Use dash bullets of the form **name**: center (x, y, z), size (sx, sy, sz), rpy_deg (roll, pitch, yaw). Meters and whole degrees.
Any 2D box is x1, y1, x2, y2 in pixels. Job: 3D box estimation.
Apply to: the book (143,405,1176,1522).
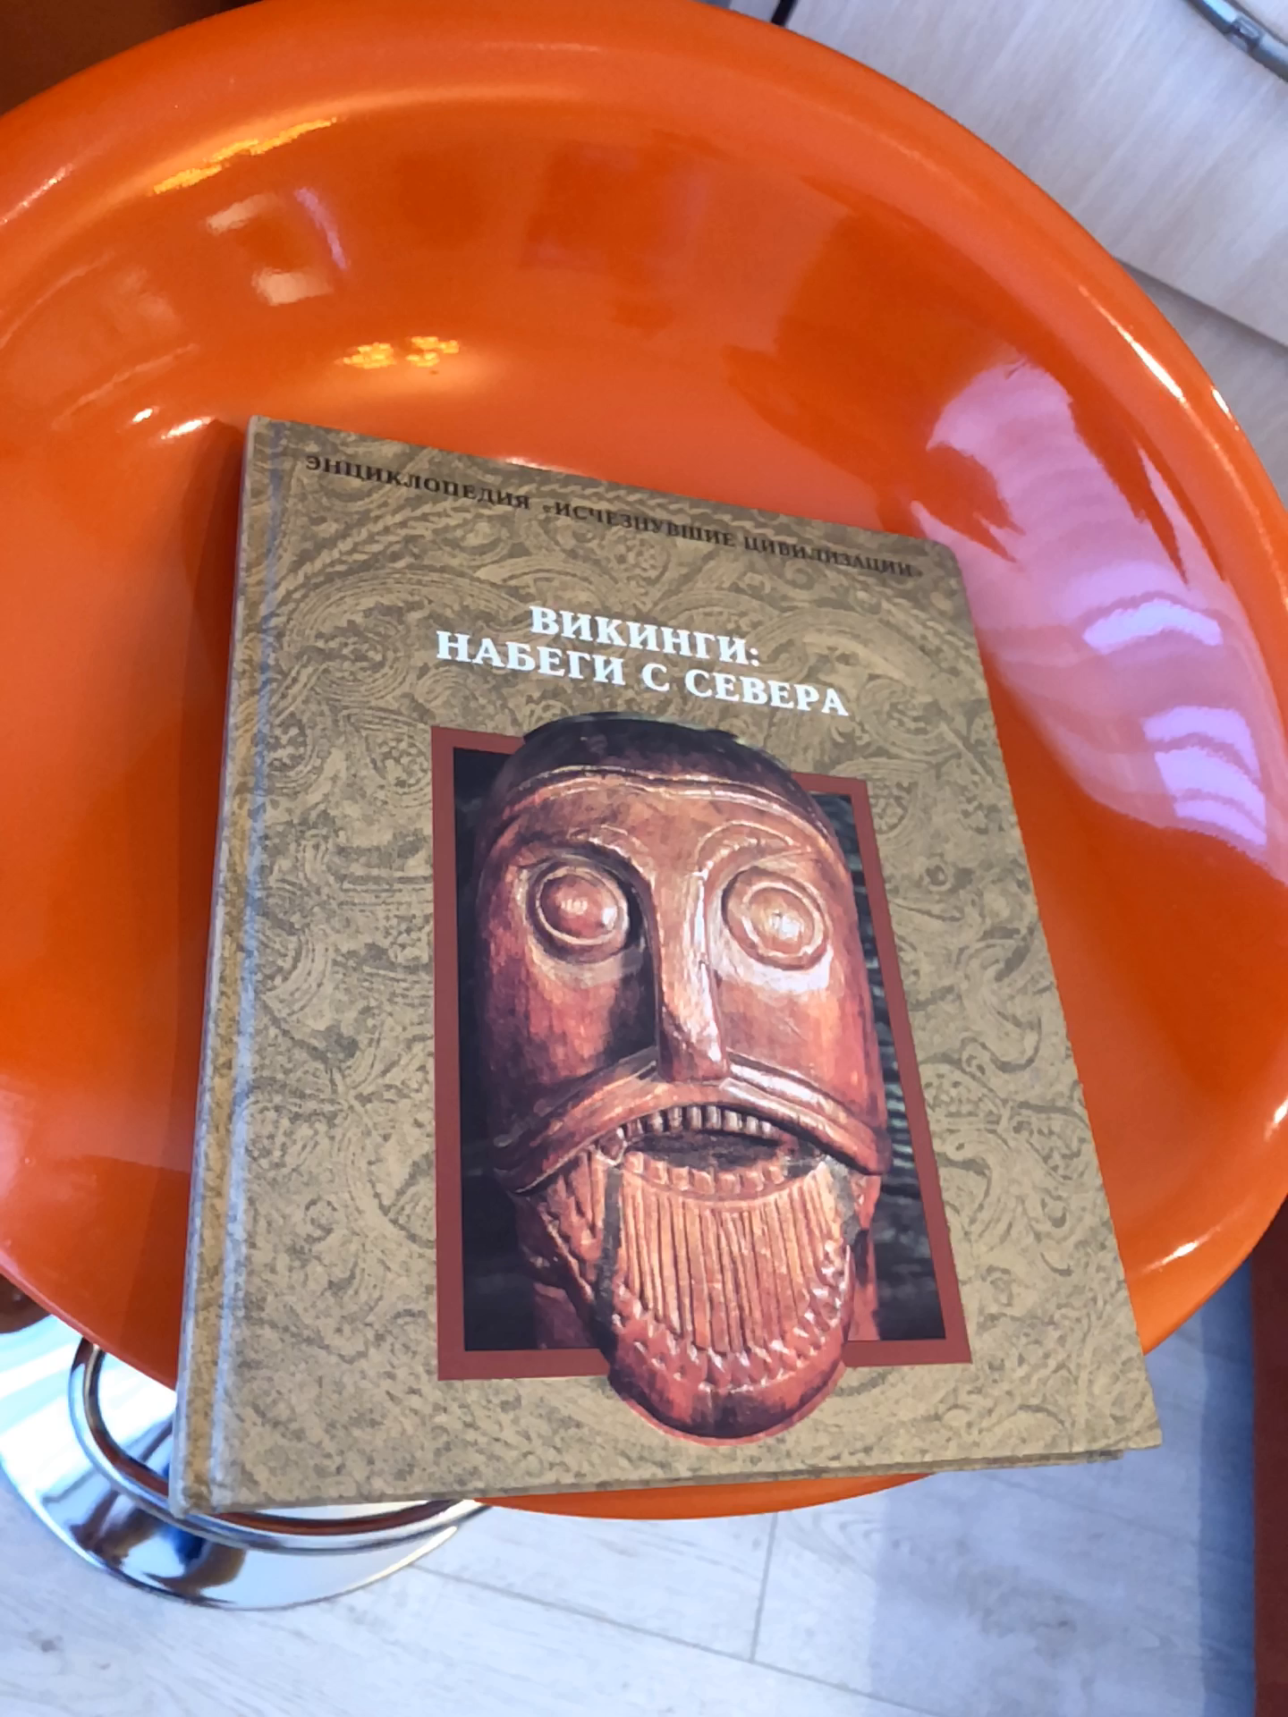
- **book**: center (0.004, 0.014, 0.351), size (0.216, 0.022, 0.261), rpy_deg (6, 60, -19)
